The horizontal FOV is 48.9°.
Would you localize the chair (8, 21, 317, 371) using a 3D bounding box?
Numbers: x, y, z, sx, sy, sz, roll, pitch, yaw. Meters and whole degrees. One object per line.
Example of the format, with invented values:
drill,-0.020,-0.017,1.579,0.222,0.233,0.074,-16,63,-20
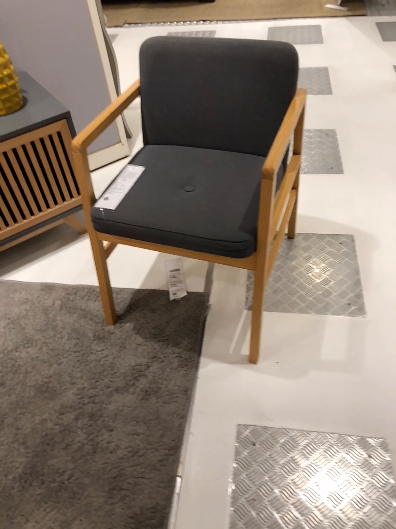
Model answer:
chair,-0.006,-0.234,1.357,0.560,0.735,0.704,11,47,17
